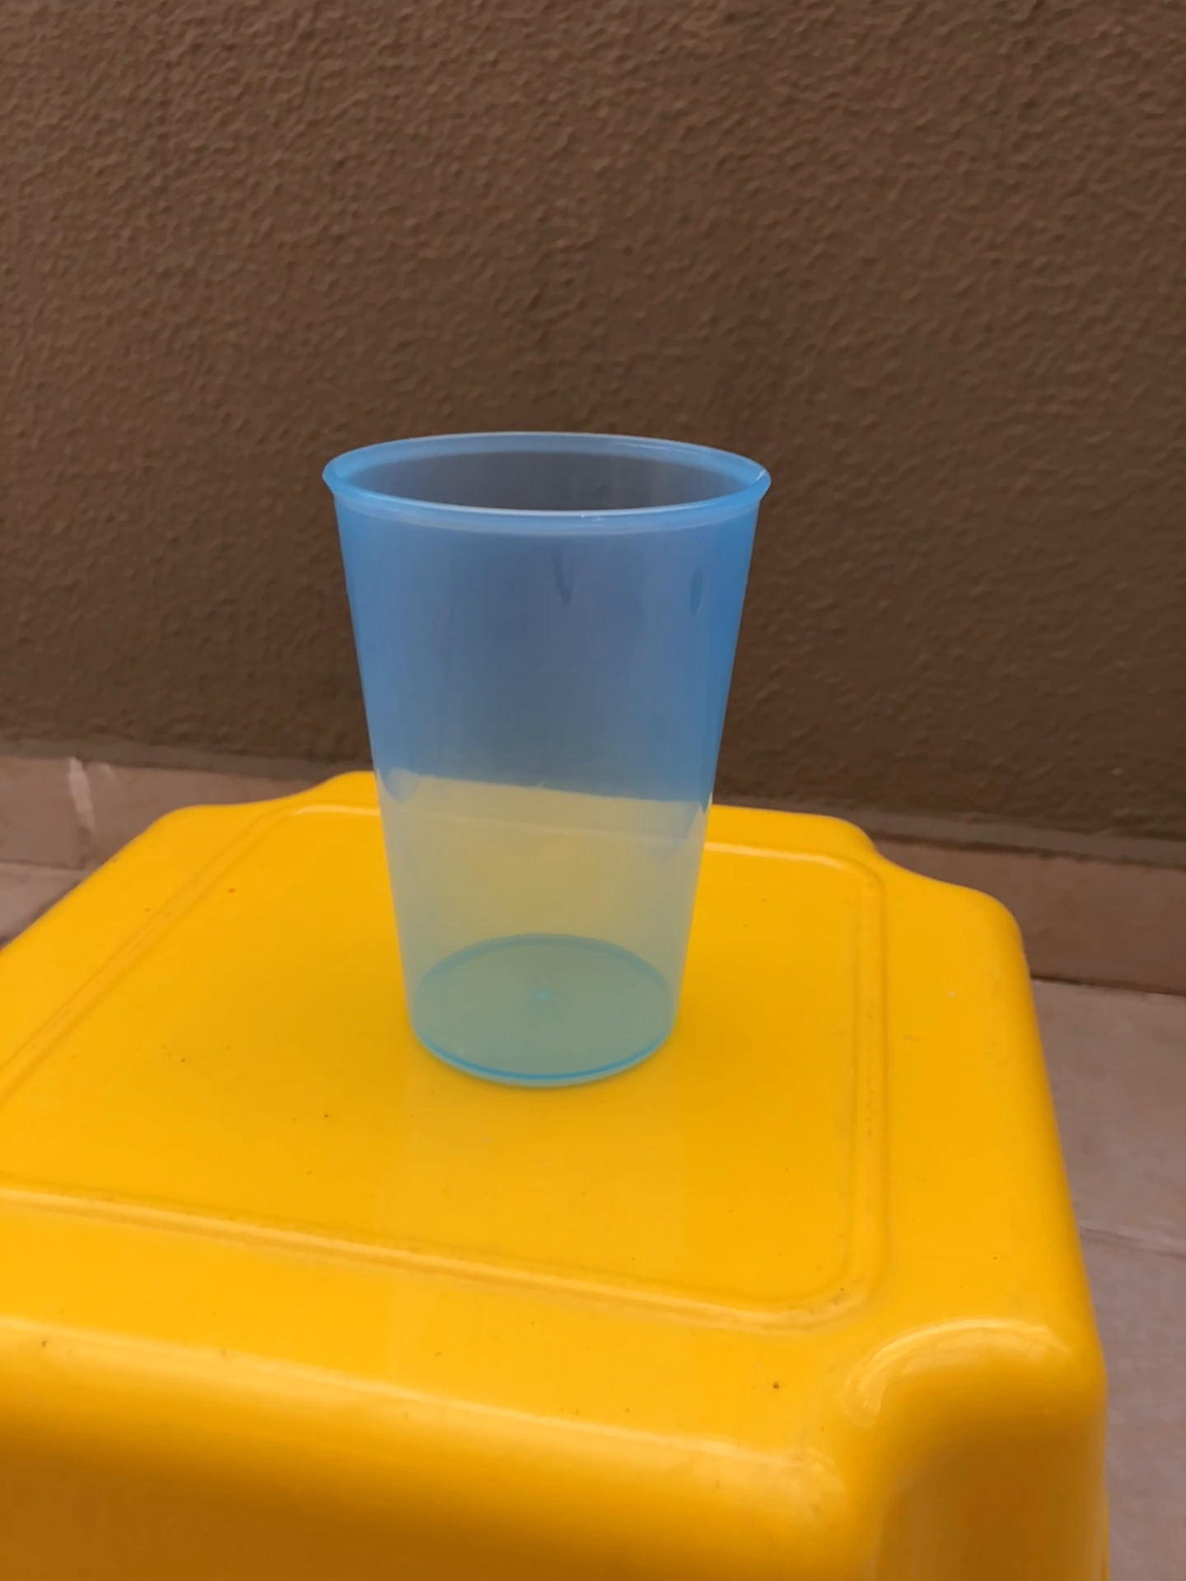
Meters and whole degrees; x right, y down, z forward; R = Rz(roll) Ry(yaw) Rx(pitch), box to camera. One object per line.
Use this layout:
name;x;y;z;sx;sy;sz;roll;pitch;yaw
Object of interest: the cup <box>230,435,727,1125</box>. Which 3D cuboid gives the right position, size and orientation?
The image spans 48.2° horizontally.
cup;-0.013;-0.008;0.242;0.070;0.099;0.081;3;23;5
